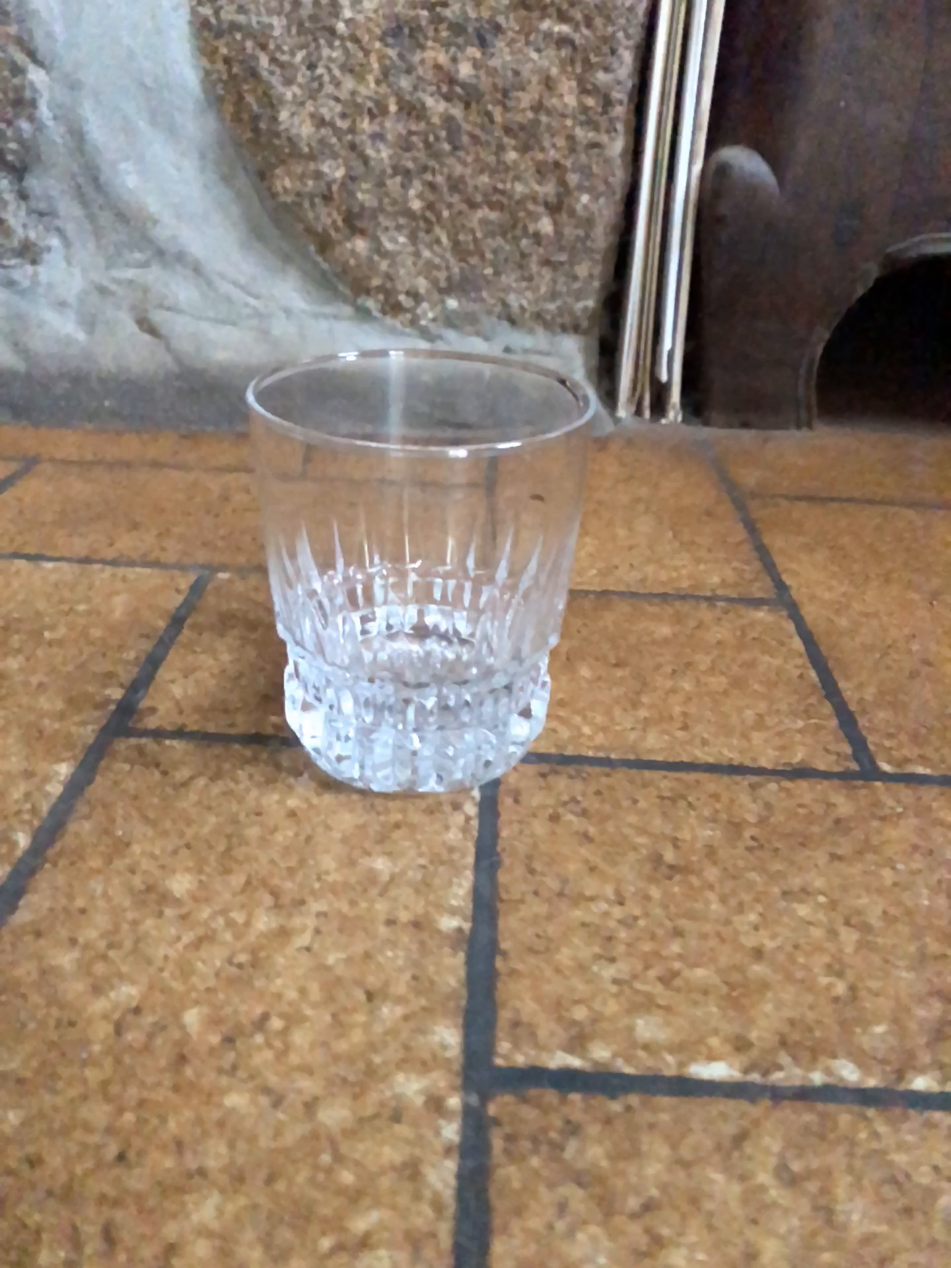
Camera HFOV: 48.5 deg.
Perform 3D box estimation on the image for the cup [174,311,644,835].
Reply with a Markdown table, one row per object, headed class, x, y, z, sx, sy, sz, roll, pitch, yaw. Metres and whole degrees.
| class | x | y | z | sx | sy | sz | roll | pitch | yaw |
| --- | --- | --- | --- | --- | --- | --- | --- | --- | --- |
| cup | -0.012 | -0.021 | 0.256 | 0.080 | 0.089 | 0.081 | 3 | 28 | -1 |
